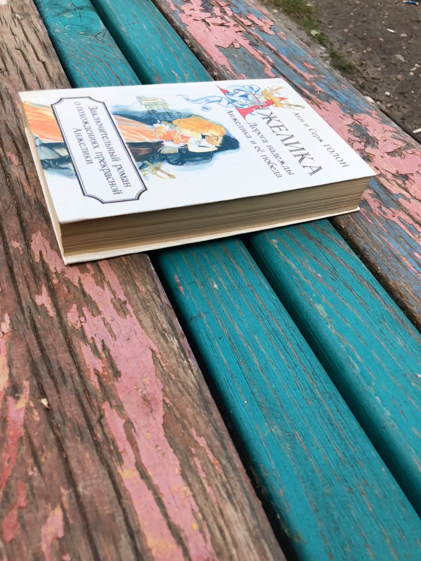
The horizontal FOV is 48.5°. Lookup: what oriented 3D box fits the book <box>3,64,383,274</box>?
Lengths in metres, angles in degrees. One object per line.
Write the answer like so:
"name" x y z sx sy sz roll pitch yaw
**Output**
"book" -0.016 -0.093 0.323 0.214 0.032 0.154 -13 54 -21
